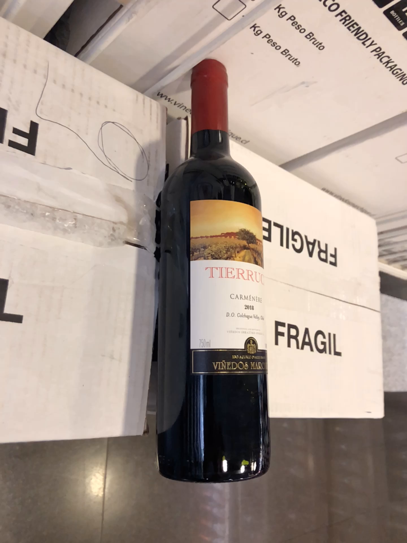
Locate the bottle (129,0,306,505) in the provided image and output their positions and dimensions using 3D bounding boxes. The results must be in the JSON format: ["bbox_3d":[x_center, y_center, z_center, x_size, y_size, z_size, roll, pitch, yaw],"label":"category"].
[{"bbox_3d":[0.009,-0.022,0.326,0.080,0.079,0.320,12,72,-41],"label":"bottle"}]
